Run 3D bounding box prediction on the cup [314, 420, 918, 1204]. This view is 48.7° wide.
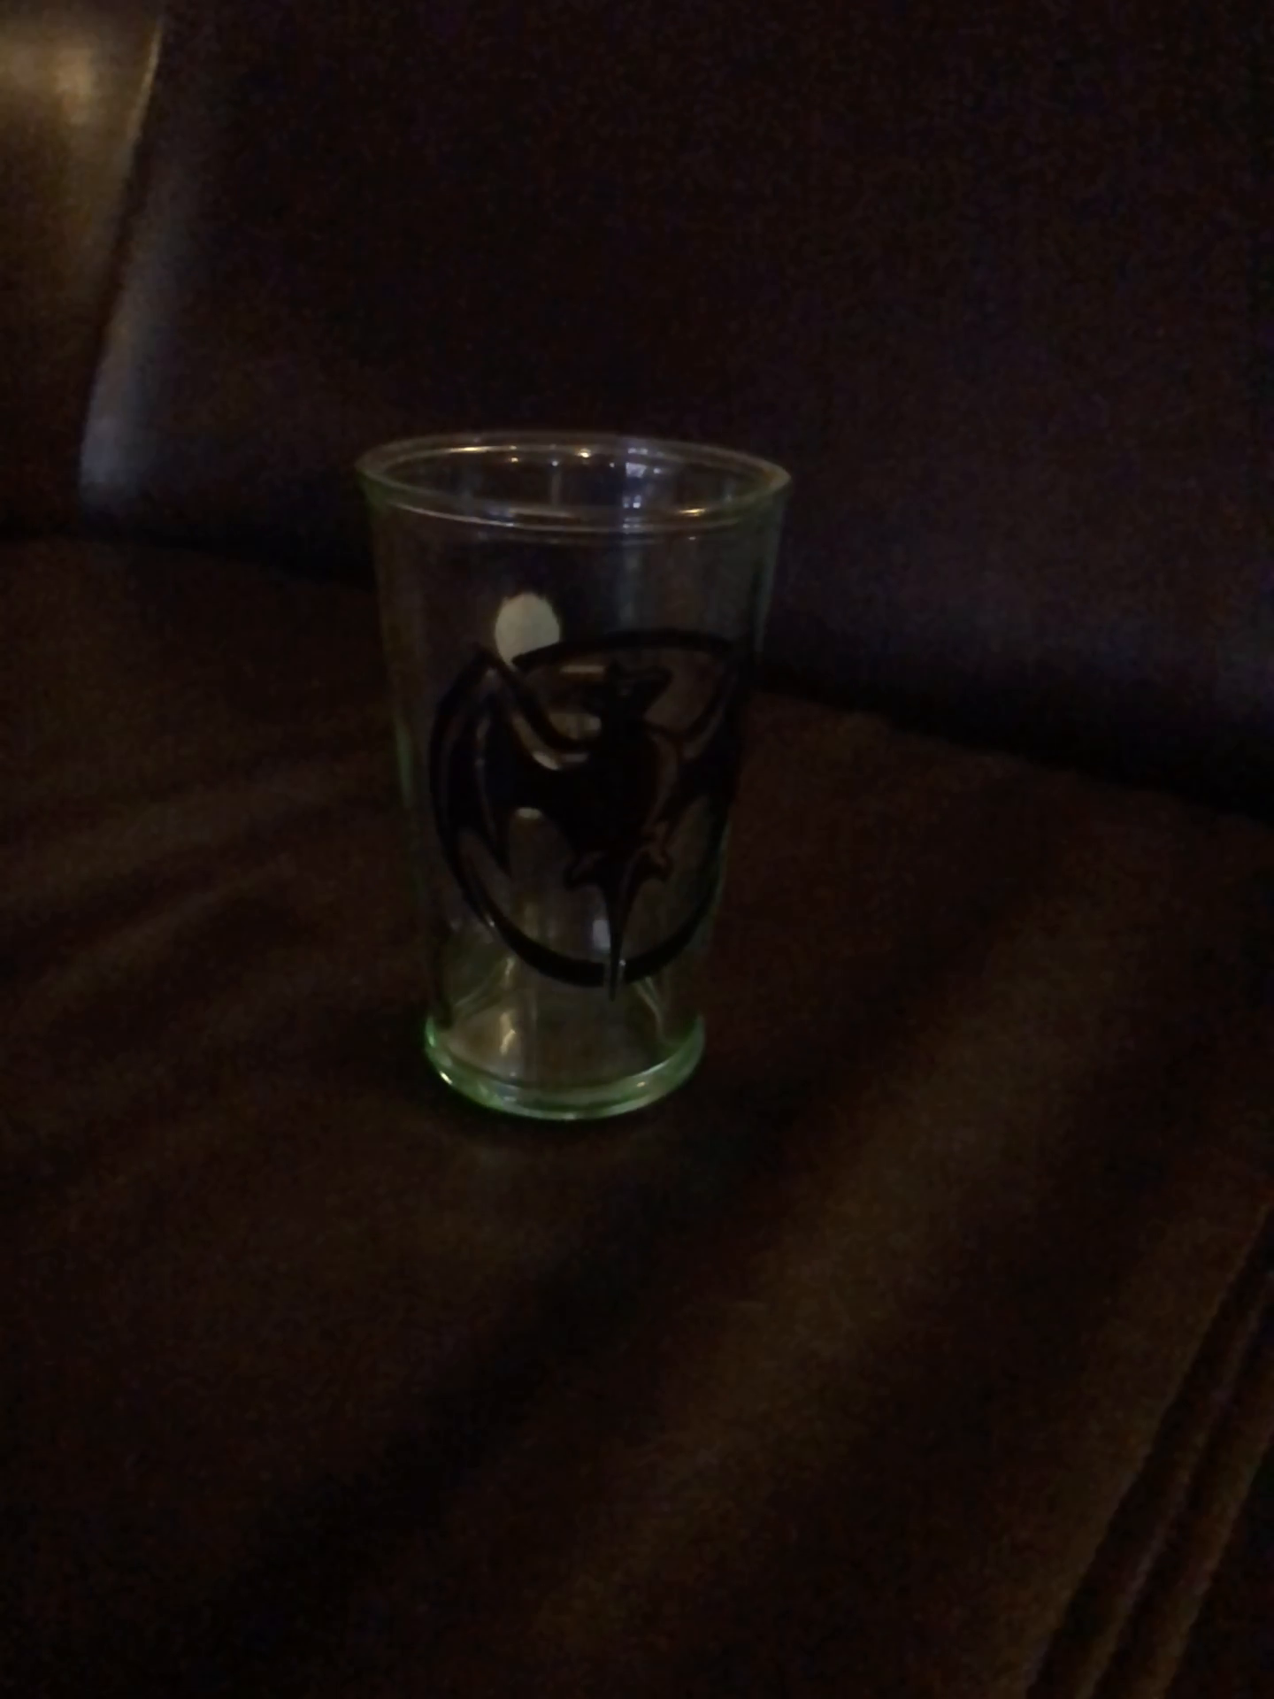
[{"bbox_3d":[-0.012,-0.014,0.268,0.085,0.117,0.088,2,25,-1],"label":"cup"}]
